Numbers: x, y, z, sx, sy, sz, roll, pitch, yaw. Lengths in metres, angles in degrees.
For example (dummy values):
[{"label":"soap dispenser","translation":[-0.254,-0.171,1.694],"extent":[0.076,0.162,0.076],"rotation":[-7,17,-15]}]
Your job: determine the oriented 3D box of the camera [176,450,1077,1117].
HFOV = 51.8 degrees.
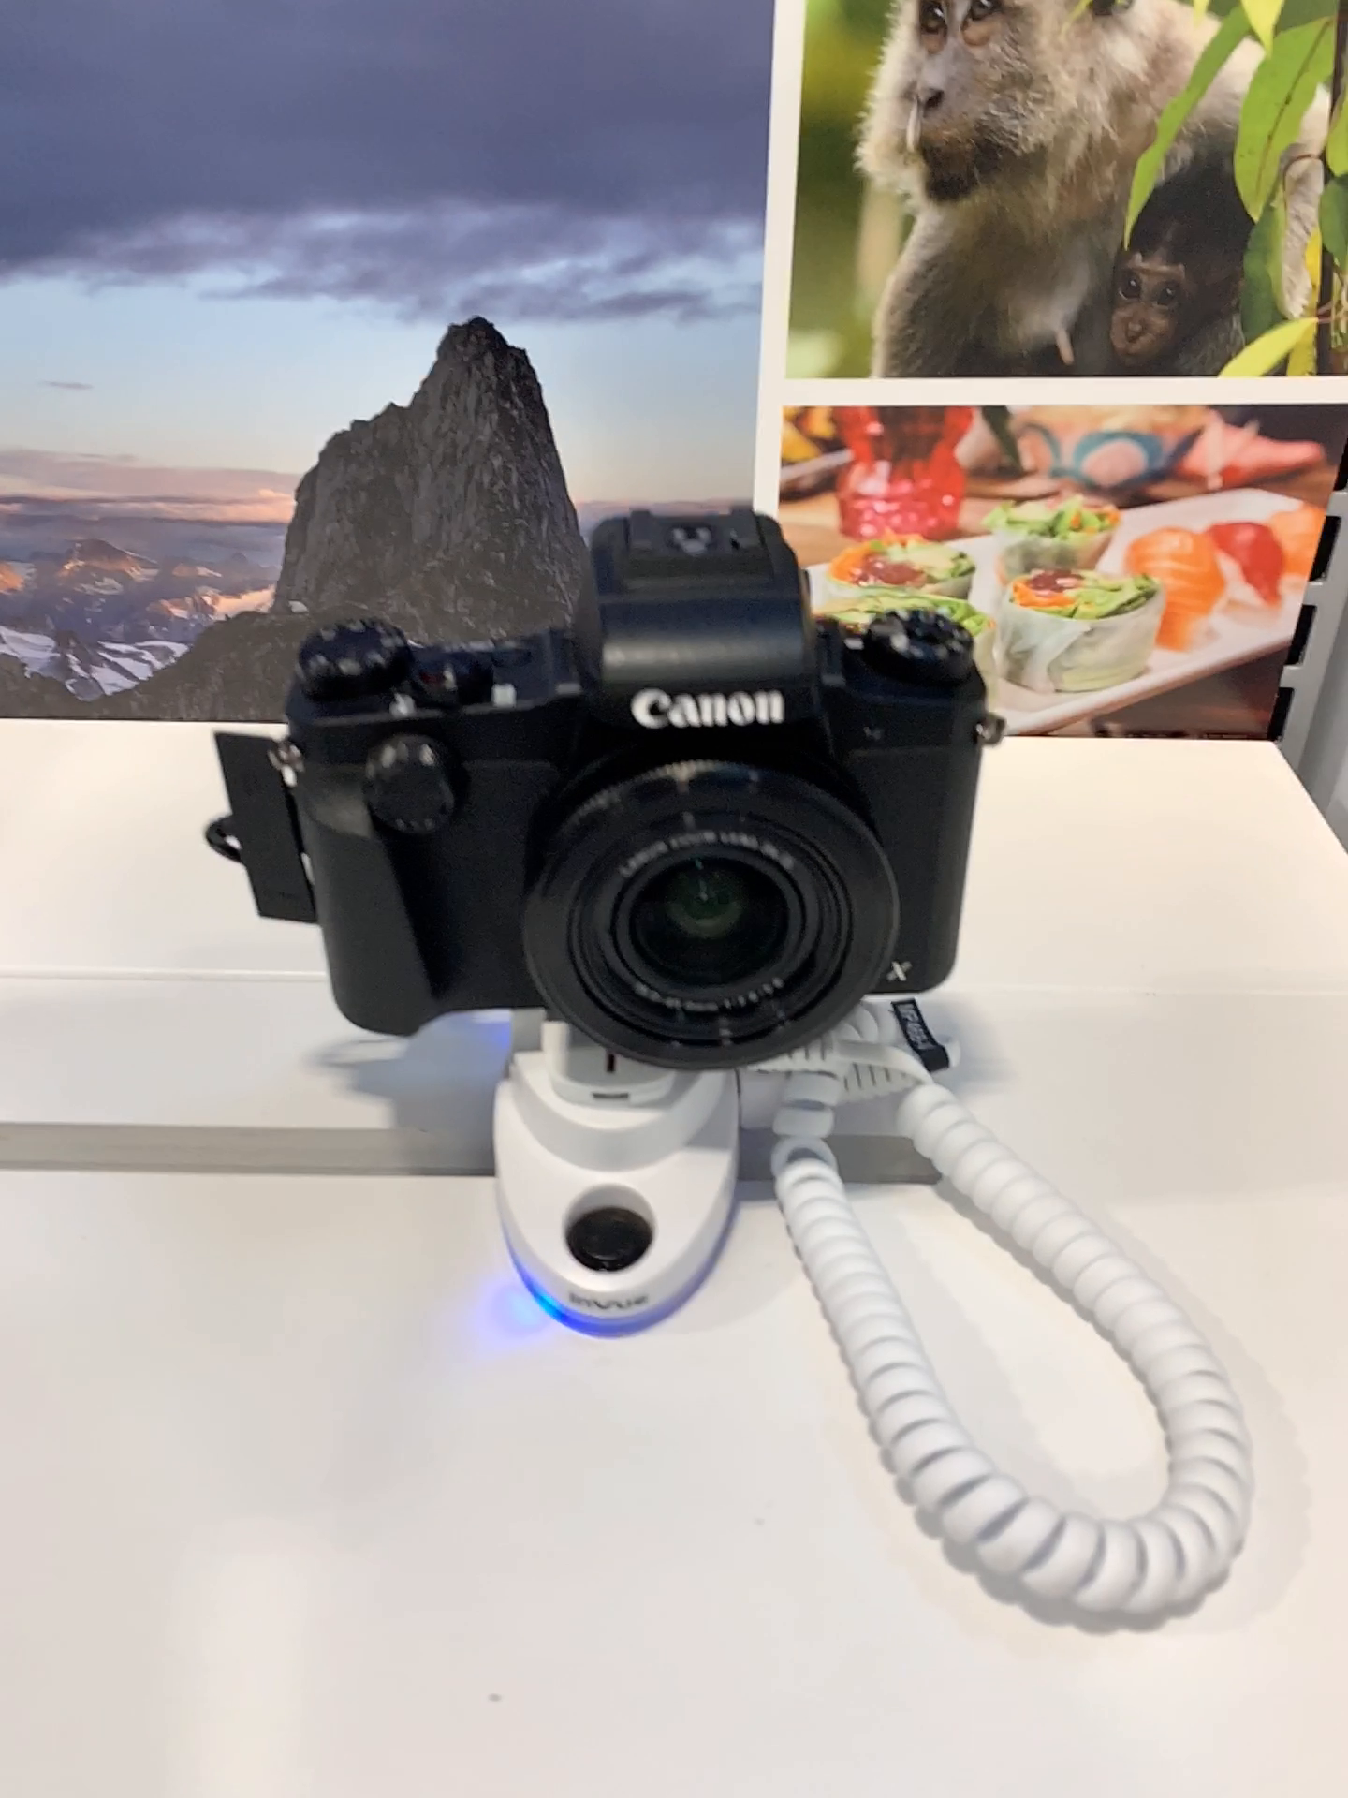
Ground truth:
[{"label":"camera","translation":[-0.007,-0.020,0.234],"extent":[0.120,0.090,0.060],"rotation":[-2,34,-4]}]
